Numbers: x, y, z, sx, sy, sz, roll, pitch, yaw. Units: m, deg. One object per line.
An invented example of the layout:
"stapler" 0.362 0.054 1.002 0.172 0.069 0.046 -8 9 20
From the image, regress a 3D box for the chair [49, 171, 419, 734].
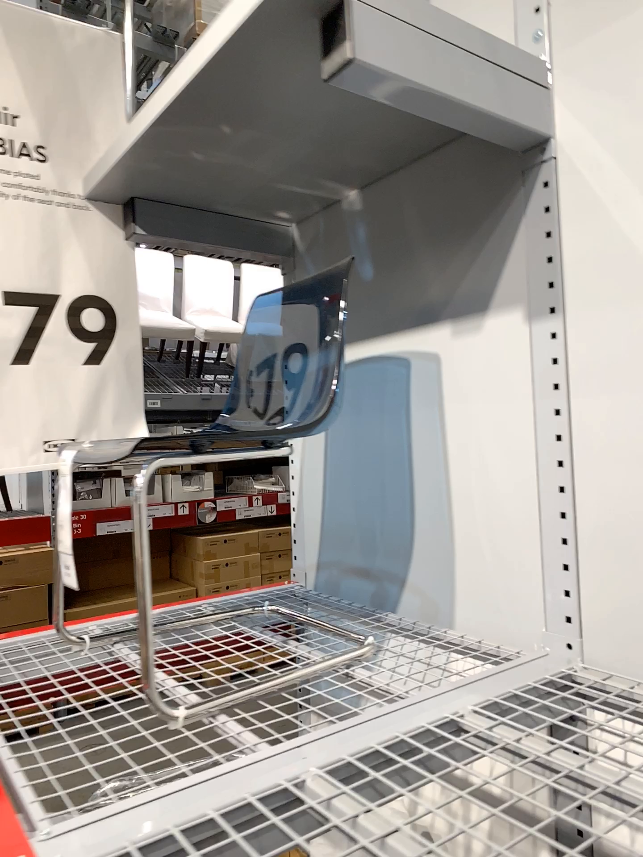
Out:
"chair" -0.203 0.035 1.352 0.549 0.840 0.531 -1 -2 -34
